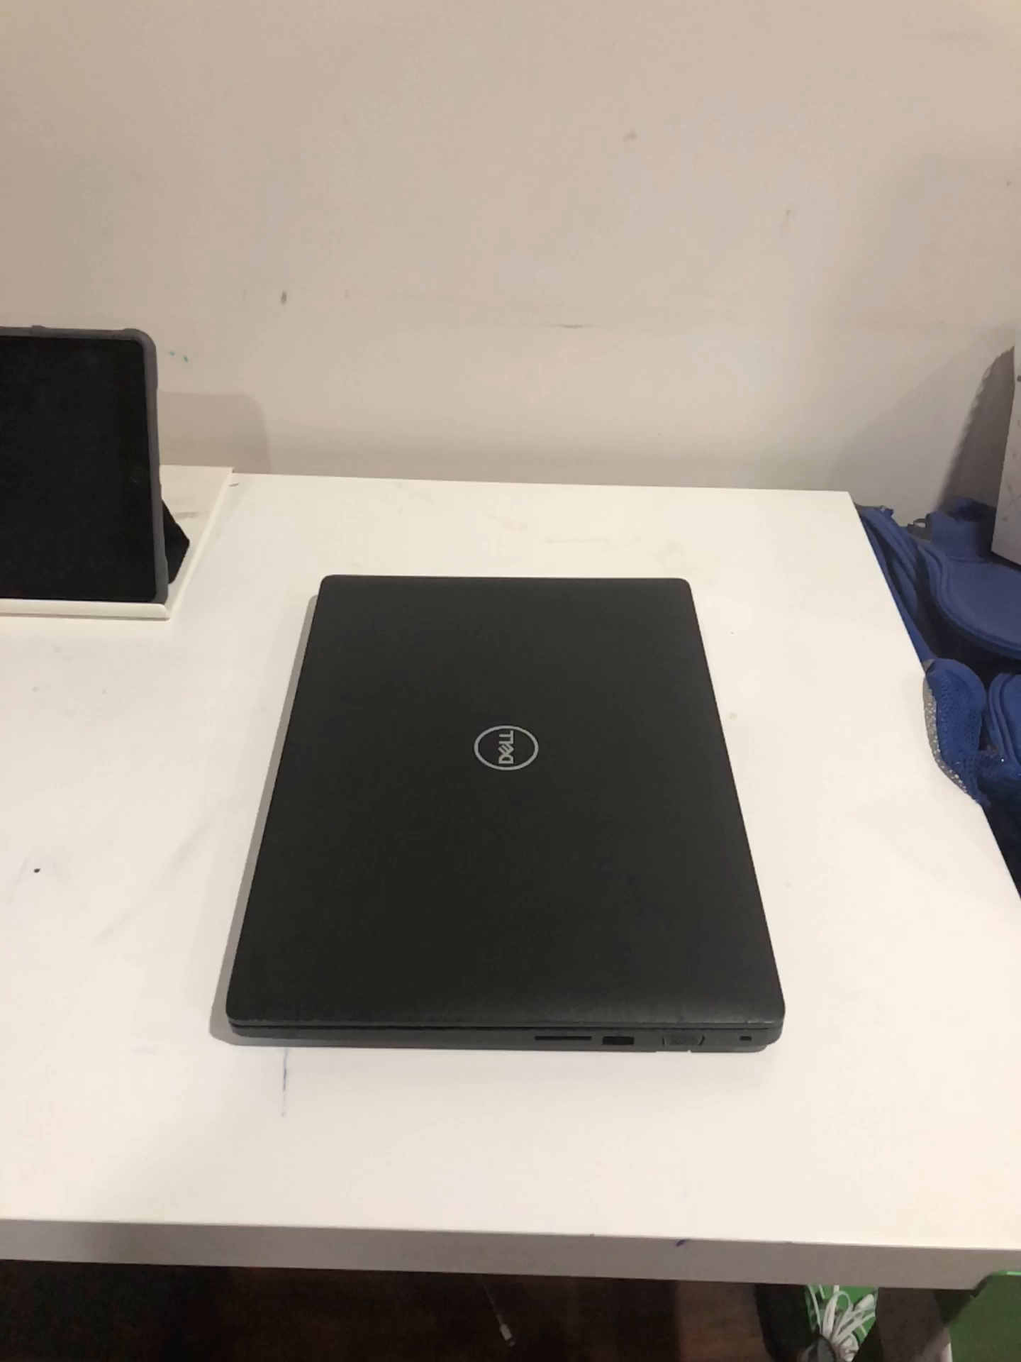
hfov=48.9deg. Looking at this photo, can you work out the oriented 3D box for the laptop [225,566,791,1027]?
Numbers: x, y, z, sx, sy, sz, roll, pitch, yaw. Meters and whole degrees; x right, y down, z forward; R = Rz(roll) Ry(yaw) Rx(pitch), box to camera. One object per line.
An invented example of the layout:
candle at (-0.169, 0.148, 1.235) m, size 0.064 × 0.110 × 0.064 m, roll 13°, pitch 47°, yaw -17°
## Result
laptop at (-0.002, 0.038, 0.608) m, size 0.241 × 0.010 × 0.334 m, roll -1°, pitch 40°, yaw 1°
